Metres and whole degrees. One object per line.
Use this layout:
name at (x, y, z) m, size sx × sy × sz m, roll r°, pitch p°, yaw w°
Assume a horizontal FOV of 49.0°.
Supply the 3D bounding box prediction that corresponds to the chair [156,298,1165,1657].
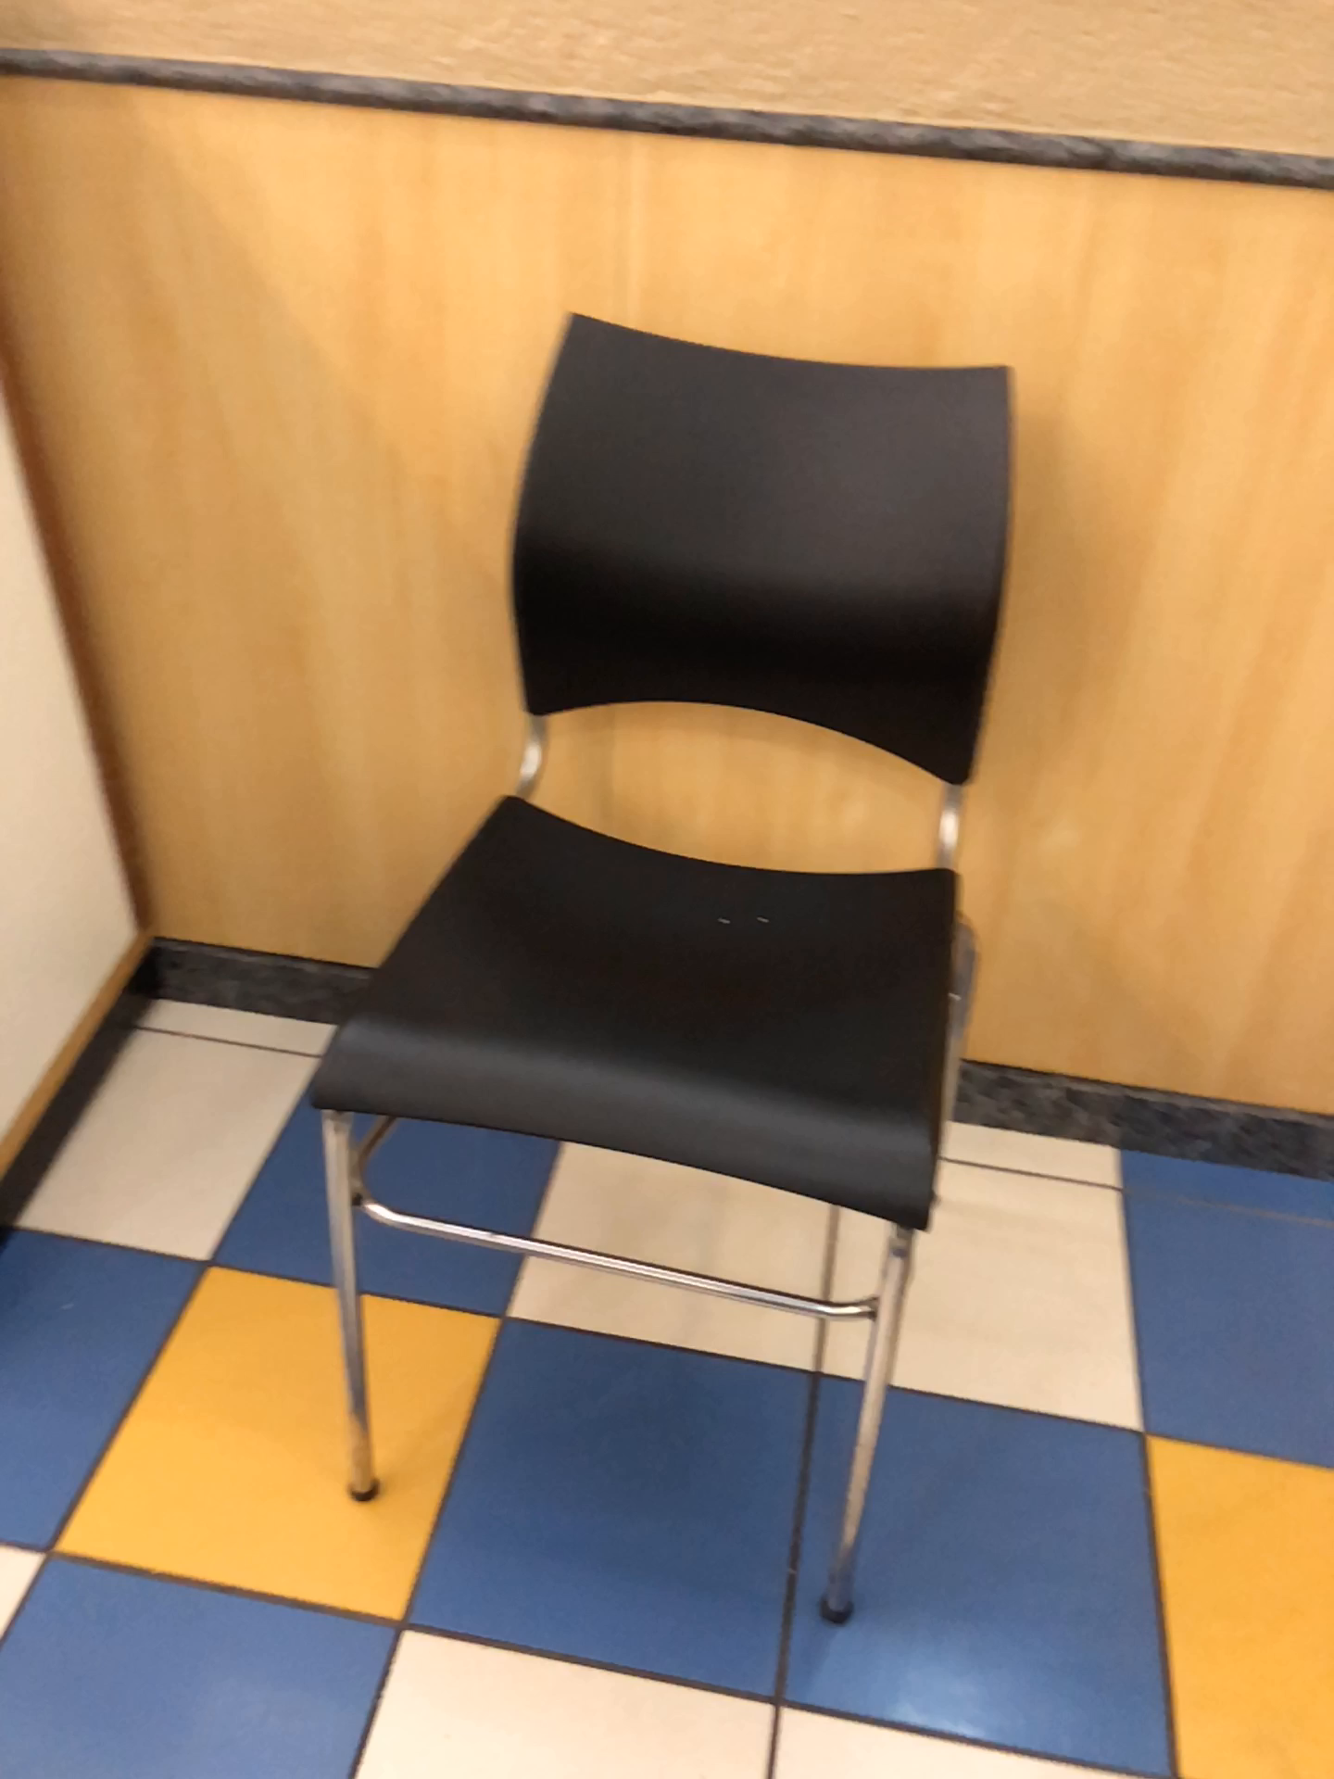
chair at (0.025, 0.069, 1.194) m, size 0.510 × 0.873 × 0.554 m, roll 10°, pitch 36°, yaw 9°
